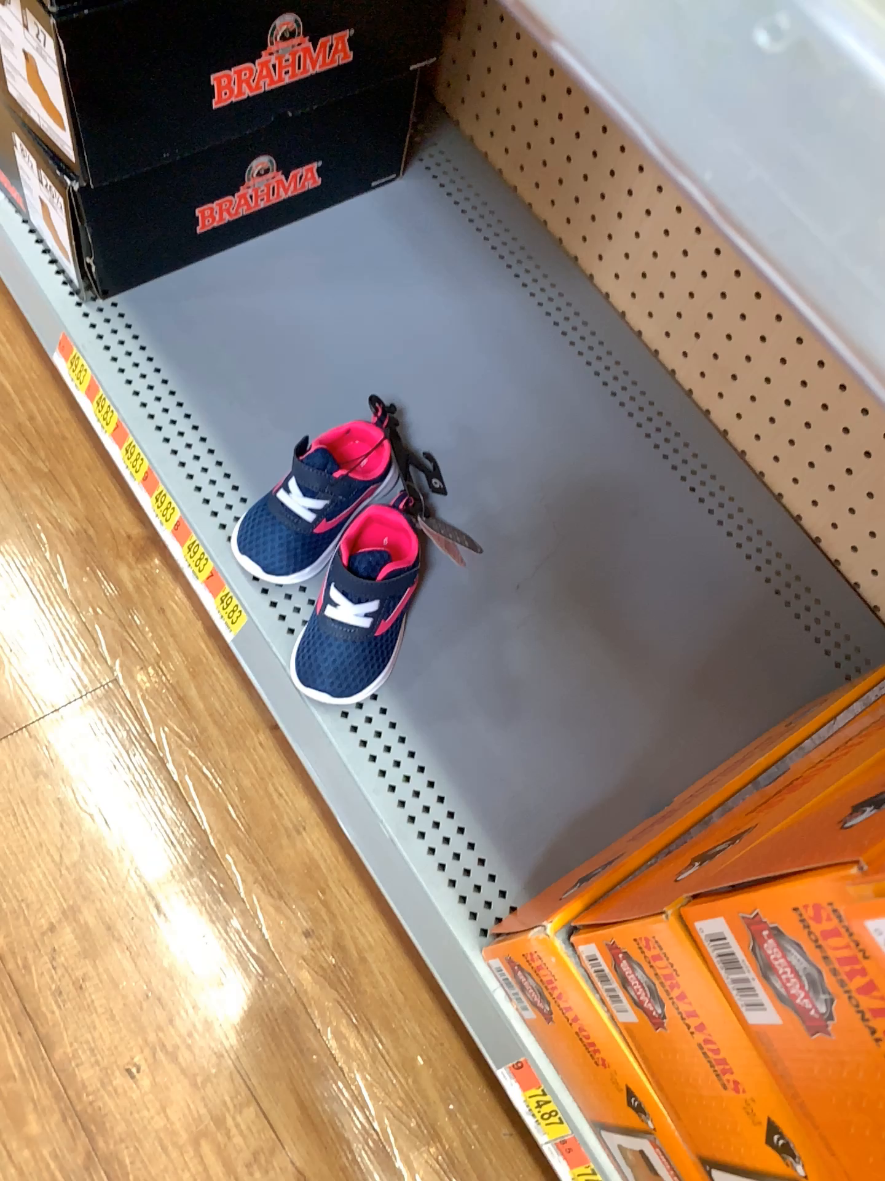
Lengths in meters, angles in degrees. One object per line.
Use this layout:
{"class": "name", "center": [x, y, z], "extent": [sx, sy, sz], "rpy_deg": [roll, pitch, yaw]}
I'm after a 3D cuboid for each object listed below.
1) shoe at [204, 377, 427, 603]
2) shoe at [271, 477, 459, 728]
{"class": "shoe", "center": [-0.091, -0.074, 0.662], "extent": [0.073, 0.064, 0.145], "rpy_deg": [42, 66, 9]}
{"class": "shoe", "center": [-0.054, 0.008, 0.632], "extent": [0.073, 0.064, 0.146], "rpy_deg": [23, 64, 0]}
